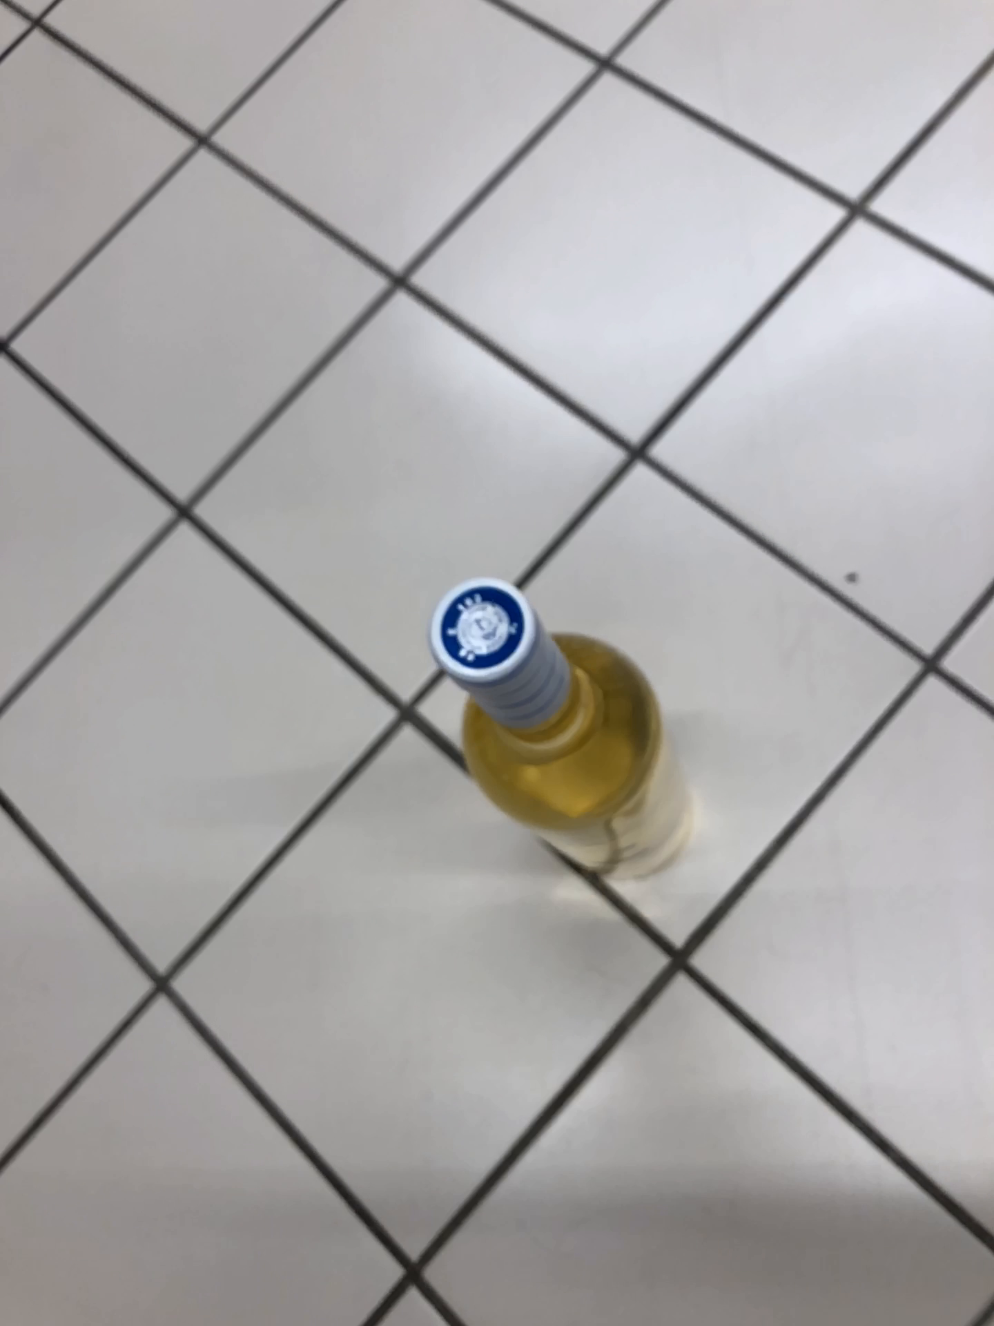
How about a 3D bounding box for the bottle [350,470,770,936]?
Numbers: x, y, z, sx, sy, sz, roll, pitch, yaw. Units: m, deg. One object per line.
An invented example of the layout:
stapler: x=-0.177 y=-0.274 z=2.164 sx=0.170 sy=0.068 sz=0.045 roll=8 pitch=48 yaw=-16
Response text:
bottle: x=0.046 y=0.042 z=0.423 sx=0.080 sy=0.310 sz=0.080 roll=-3 pitch=73 yaw=11
